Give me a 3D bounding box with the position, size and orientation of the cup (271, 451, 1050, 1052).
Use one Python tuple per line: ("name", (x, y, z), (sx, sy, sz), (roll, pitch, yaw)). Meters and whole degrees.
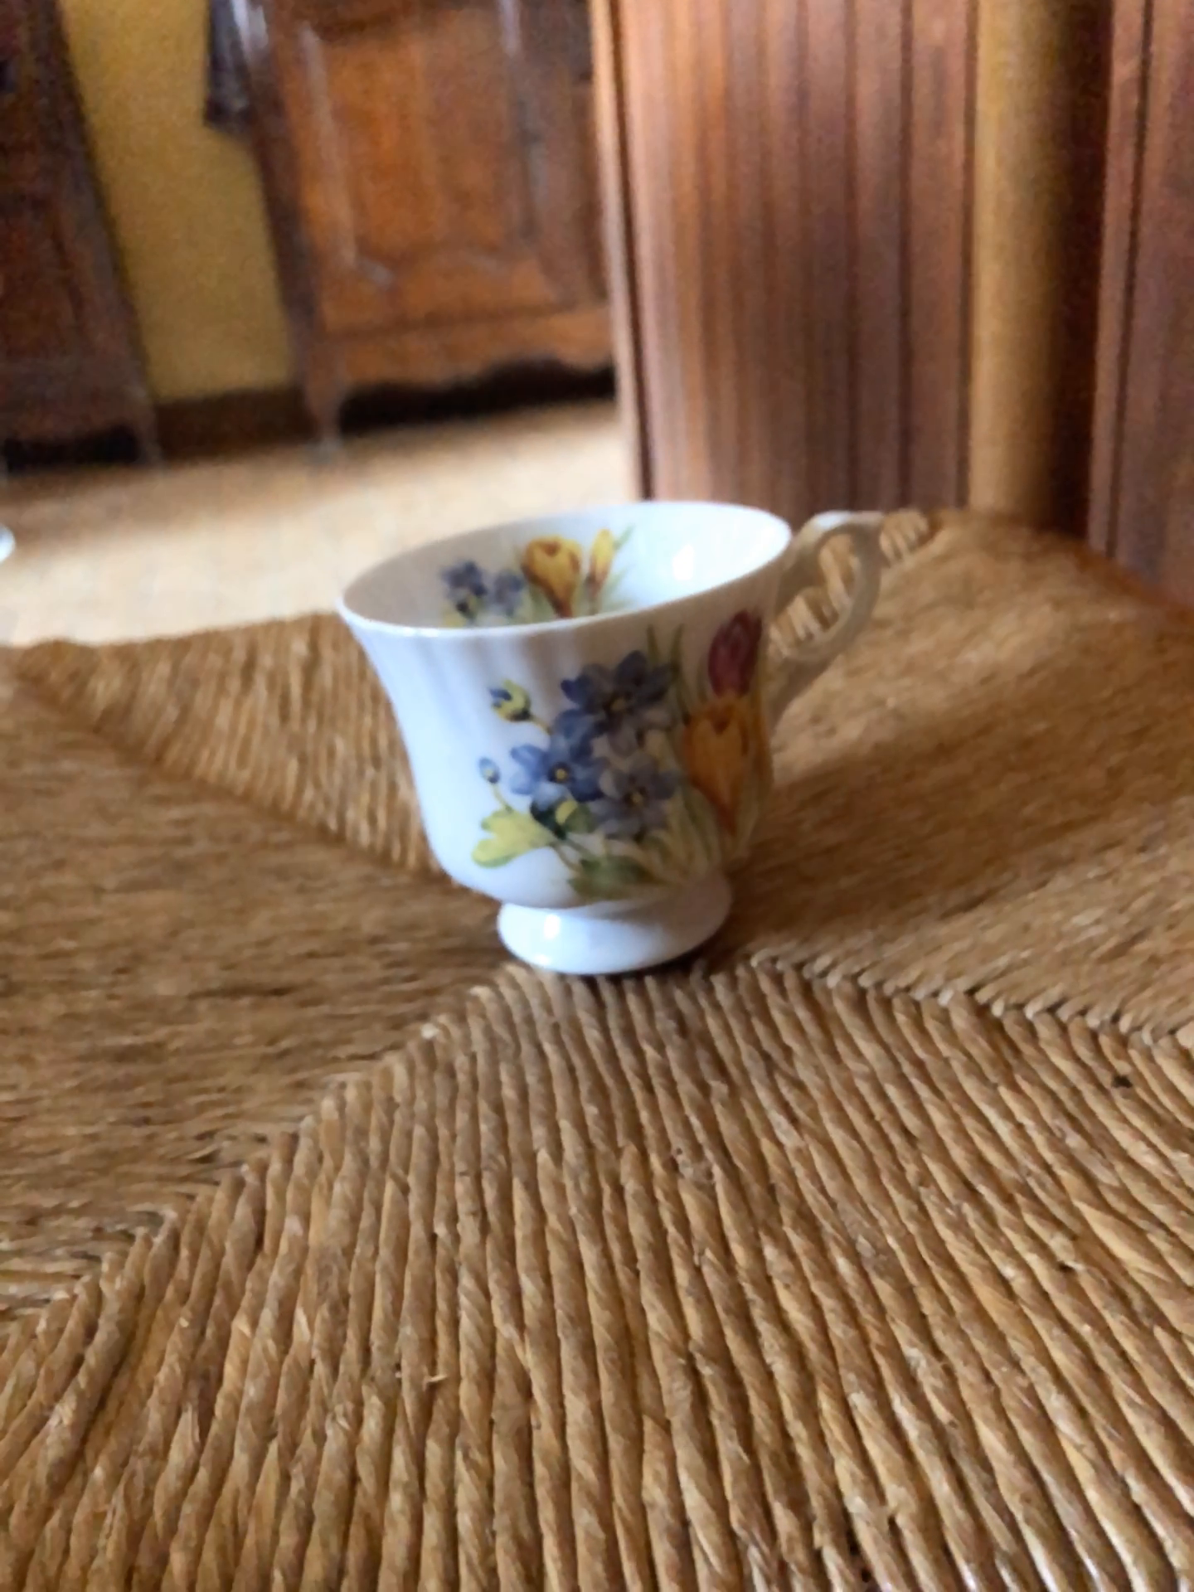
("cup", (0.010, -0.019, 0.281), (0.130, 0.070, 0.090), (-15, 27, -16))
